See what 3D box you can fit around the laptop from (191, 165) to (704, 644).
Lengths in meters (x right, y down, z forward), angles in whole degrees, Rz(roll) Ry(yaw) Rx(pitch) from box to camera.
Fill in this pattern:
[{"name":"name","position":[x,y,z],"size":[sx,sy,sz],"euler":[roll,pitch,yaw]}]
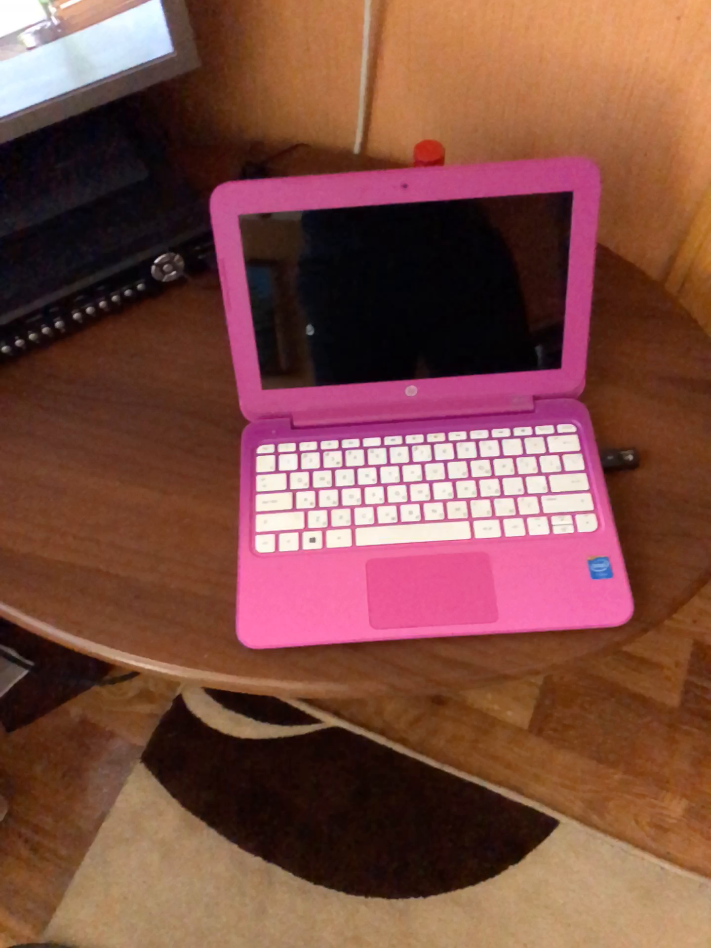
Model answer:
[{"name":"laptop","position":[0.045,-0.052,0.564],"size":[0.279,0.150,0.296],"euler":[-4,60,1]}]
